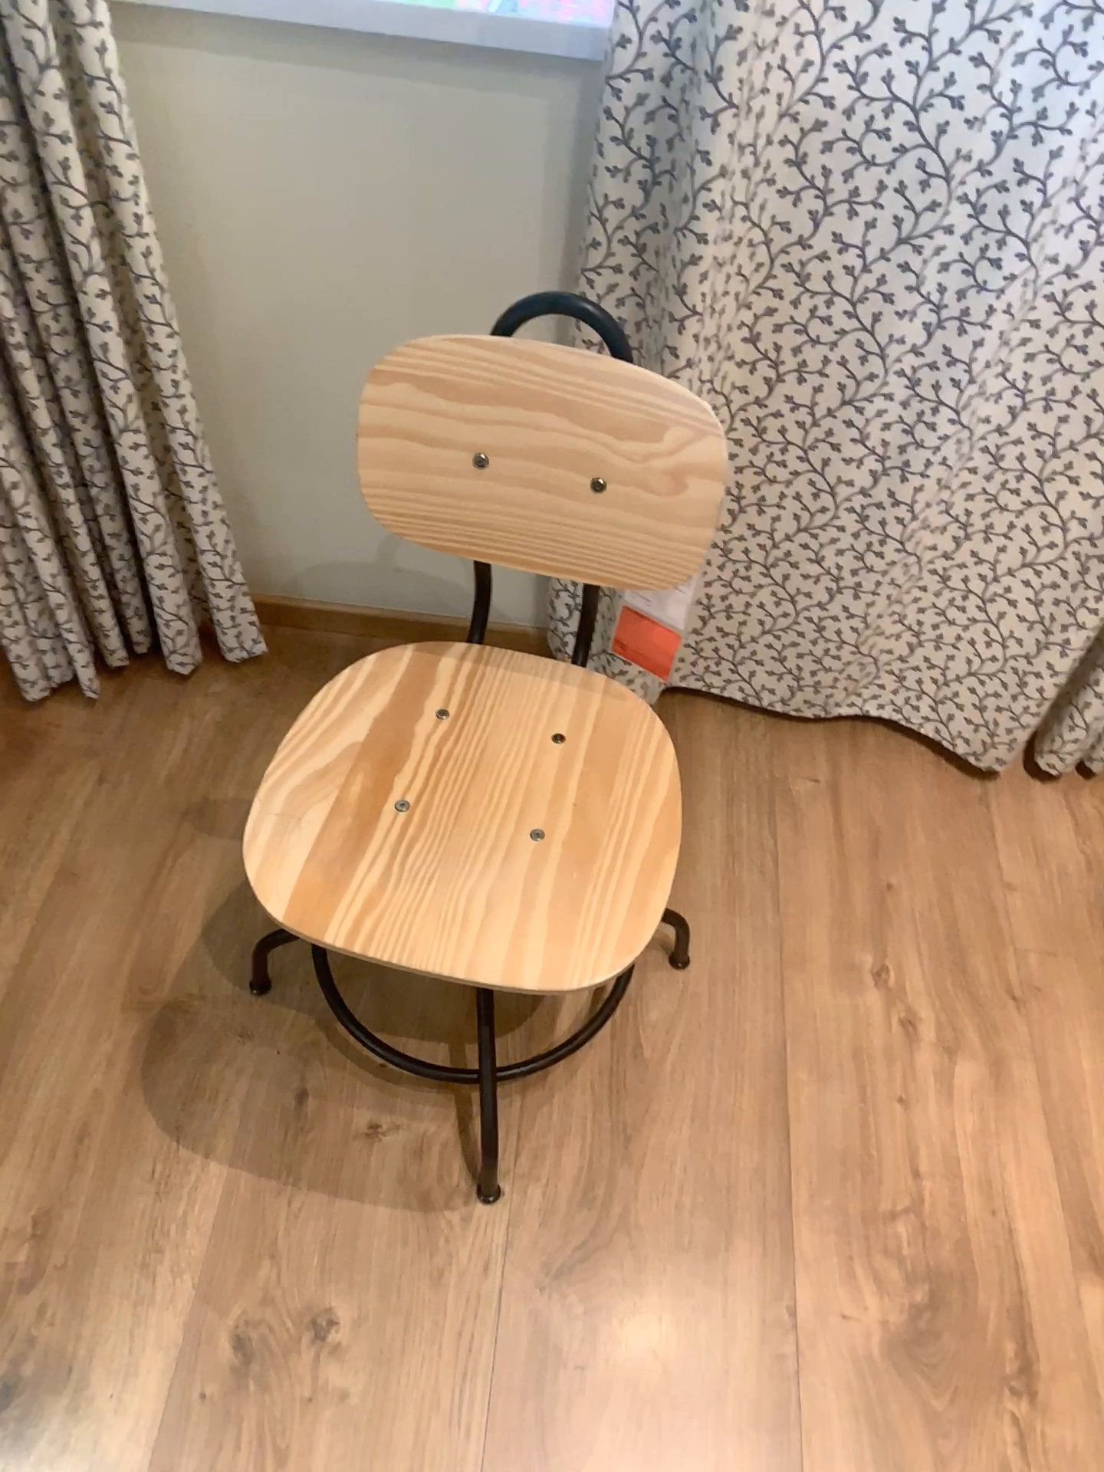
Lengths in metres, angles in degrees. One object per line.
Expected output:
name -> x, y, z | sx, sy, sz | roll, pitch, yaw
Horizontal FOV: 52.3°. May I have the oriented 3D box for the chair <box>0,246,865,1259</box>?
chair -> -0.050, 0.024, 1.057 | 0.490, 0.598, 0.632 | 12, 51, 4
